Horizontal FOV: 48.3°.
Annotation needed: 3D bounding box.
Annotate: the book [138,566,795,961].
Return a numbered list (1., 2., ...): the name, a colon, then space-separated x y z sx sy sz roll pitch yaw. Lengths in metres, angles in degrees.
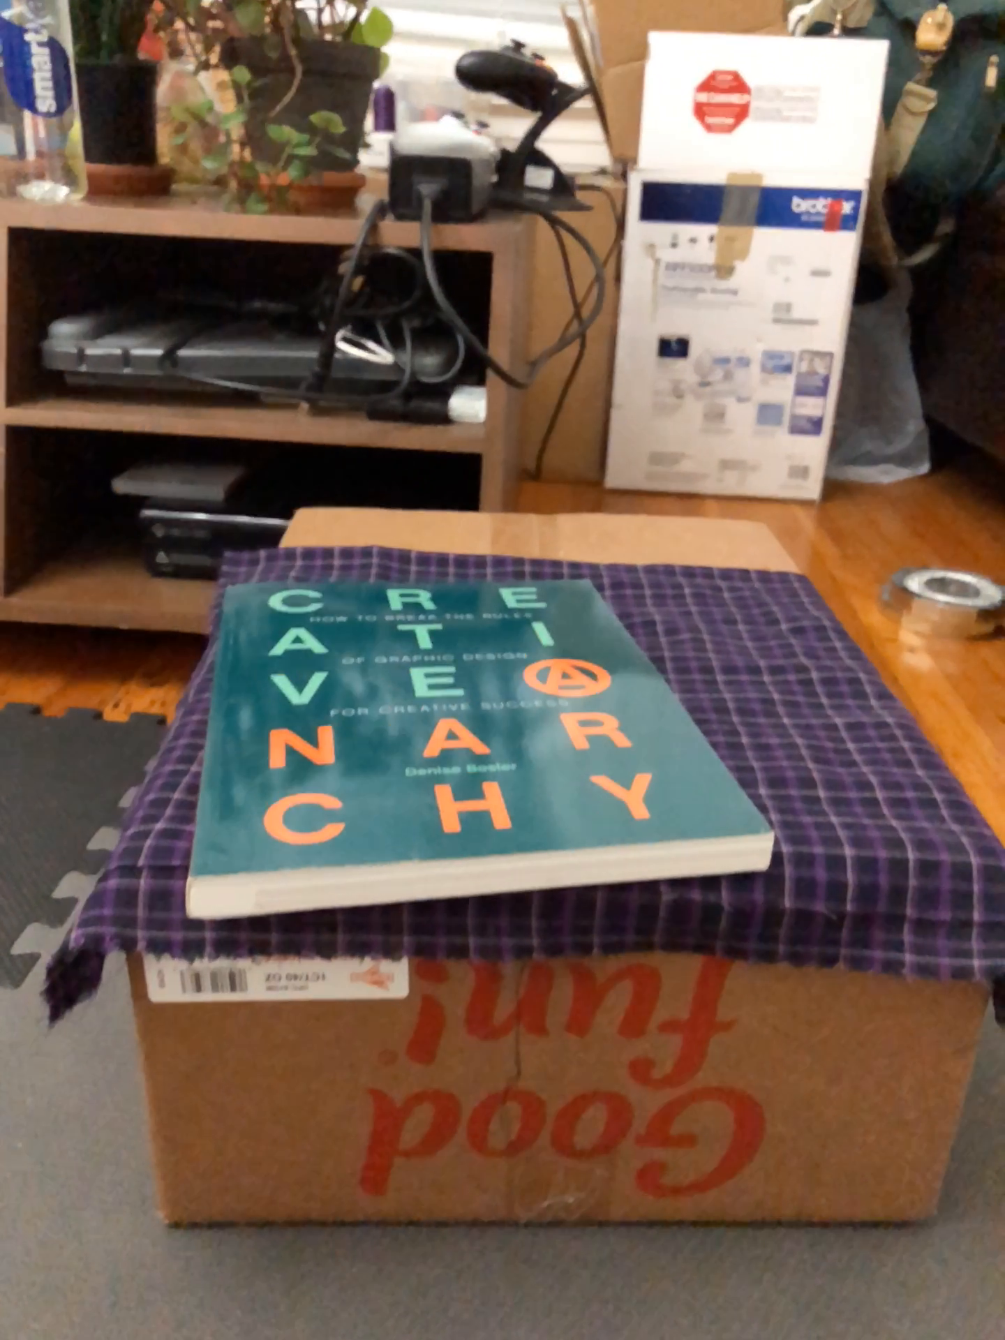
1. book: -0.034 0.016 0.509 0.220 0.020 0.302 -3 25 -11
